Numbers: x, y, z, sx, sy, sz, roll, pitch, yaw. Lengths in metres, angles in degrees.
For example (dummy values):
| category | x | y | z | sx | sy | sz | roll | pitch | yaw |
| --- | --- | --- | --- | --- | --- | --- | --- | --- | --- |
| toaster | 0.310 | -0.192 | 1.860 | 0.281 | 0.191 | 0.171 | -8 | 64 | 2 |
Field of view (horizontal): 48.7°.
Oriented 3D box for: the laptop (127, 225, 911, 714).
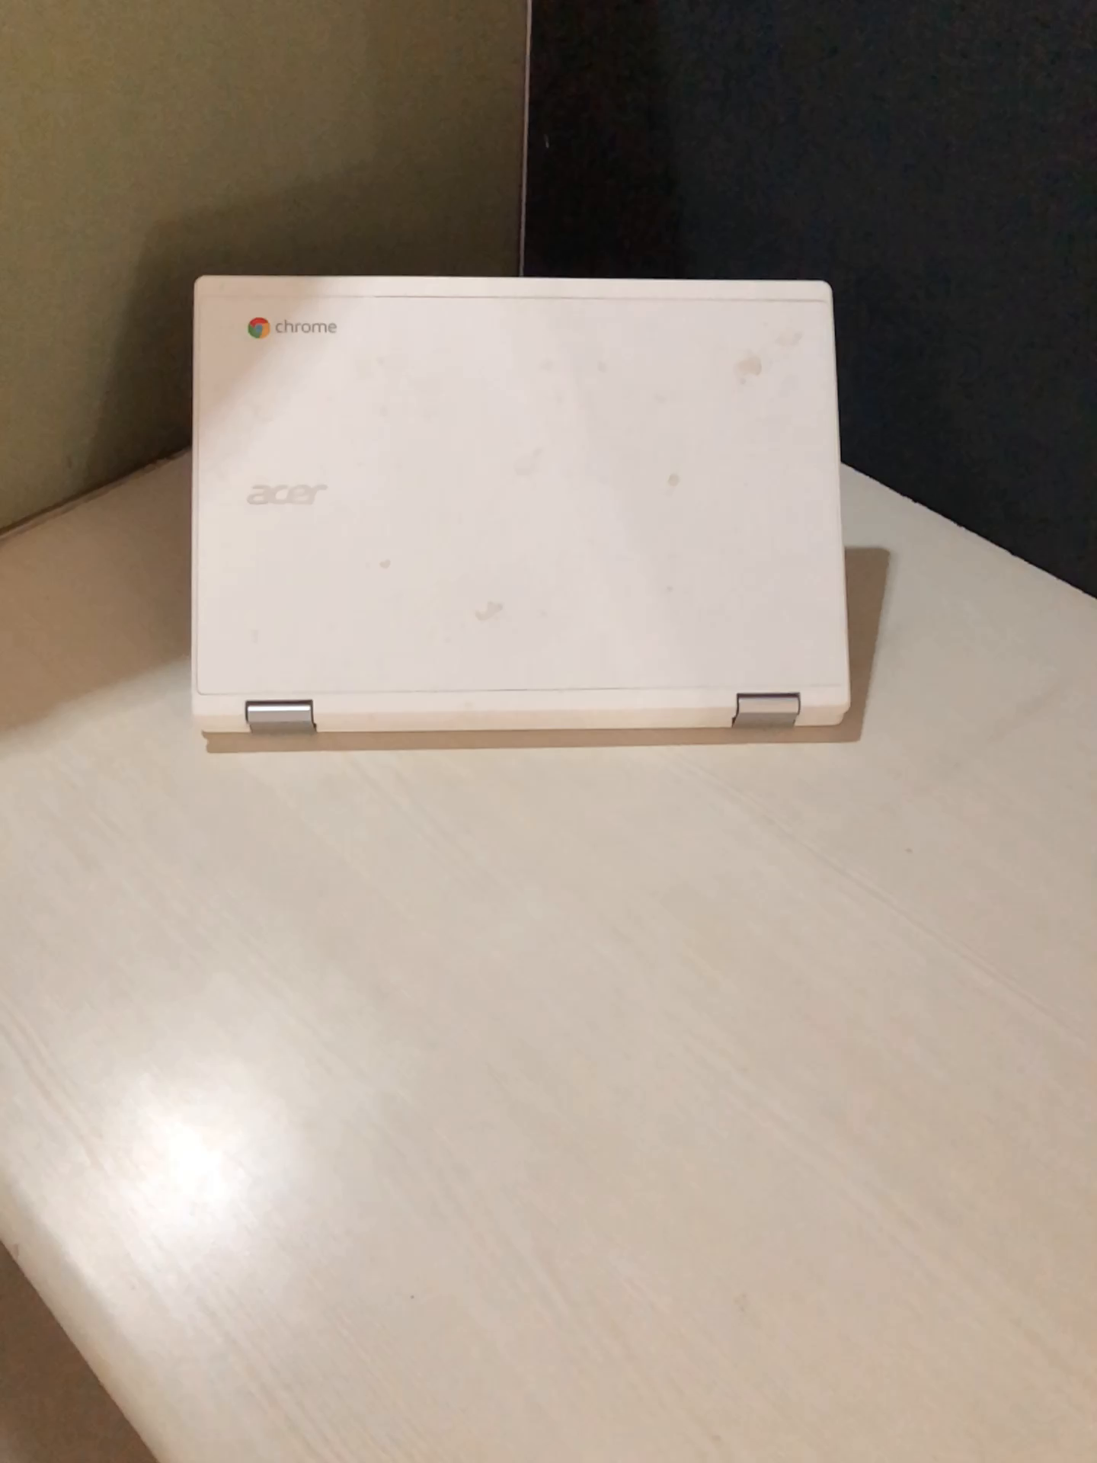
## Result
| category | x | y | z | sx | sy | sz | roll | pitch | yaw |
| --- | --- | --- | --- | --- | --- | --- | --- | --- | --- |
| laptop | -0.016 | -0.122 | 0.541 | 0.285 | 0.114 | 0.188 | -1 | 50 | -3 |
